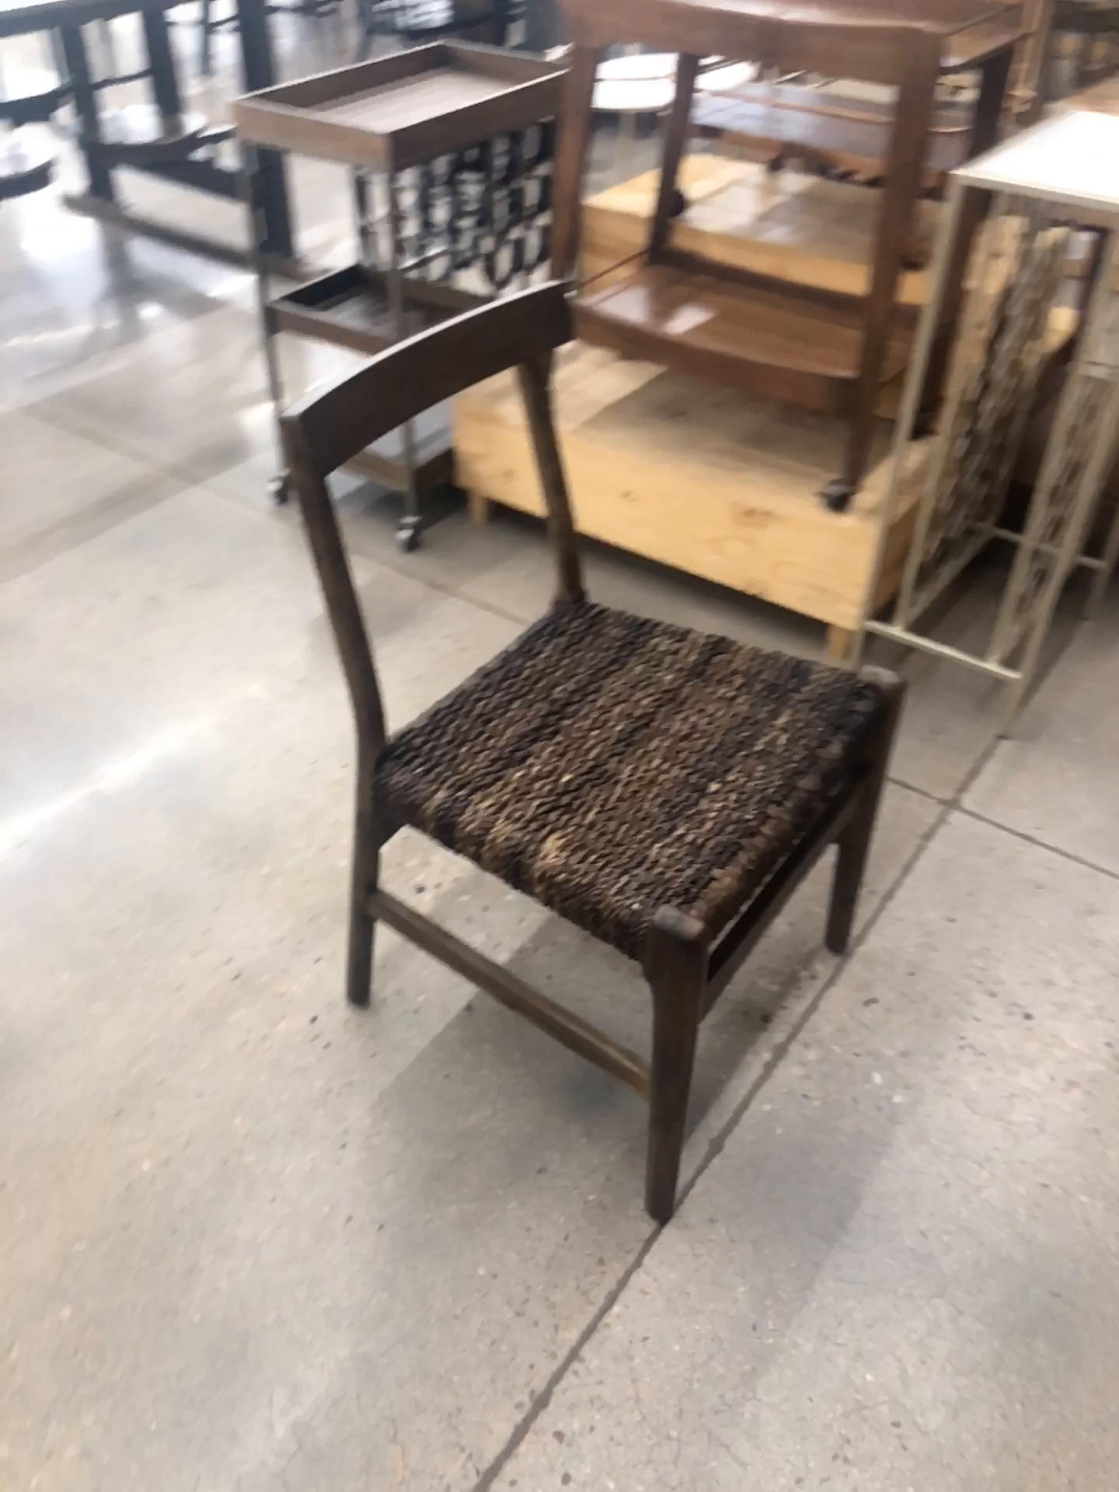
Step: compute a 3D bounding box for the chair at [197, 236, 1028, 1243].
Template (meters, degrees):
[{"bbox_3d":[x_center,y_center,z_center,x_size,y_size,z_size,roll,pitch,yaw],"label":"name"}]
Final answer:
[{"bbox_3d":[0.059,-0.019,1.364,0.533,0.816,0.550,25,45,25],"label":"chair"}]
